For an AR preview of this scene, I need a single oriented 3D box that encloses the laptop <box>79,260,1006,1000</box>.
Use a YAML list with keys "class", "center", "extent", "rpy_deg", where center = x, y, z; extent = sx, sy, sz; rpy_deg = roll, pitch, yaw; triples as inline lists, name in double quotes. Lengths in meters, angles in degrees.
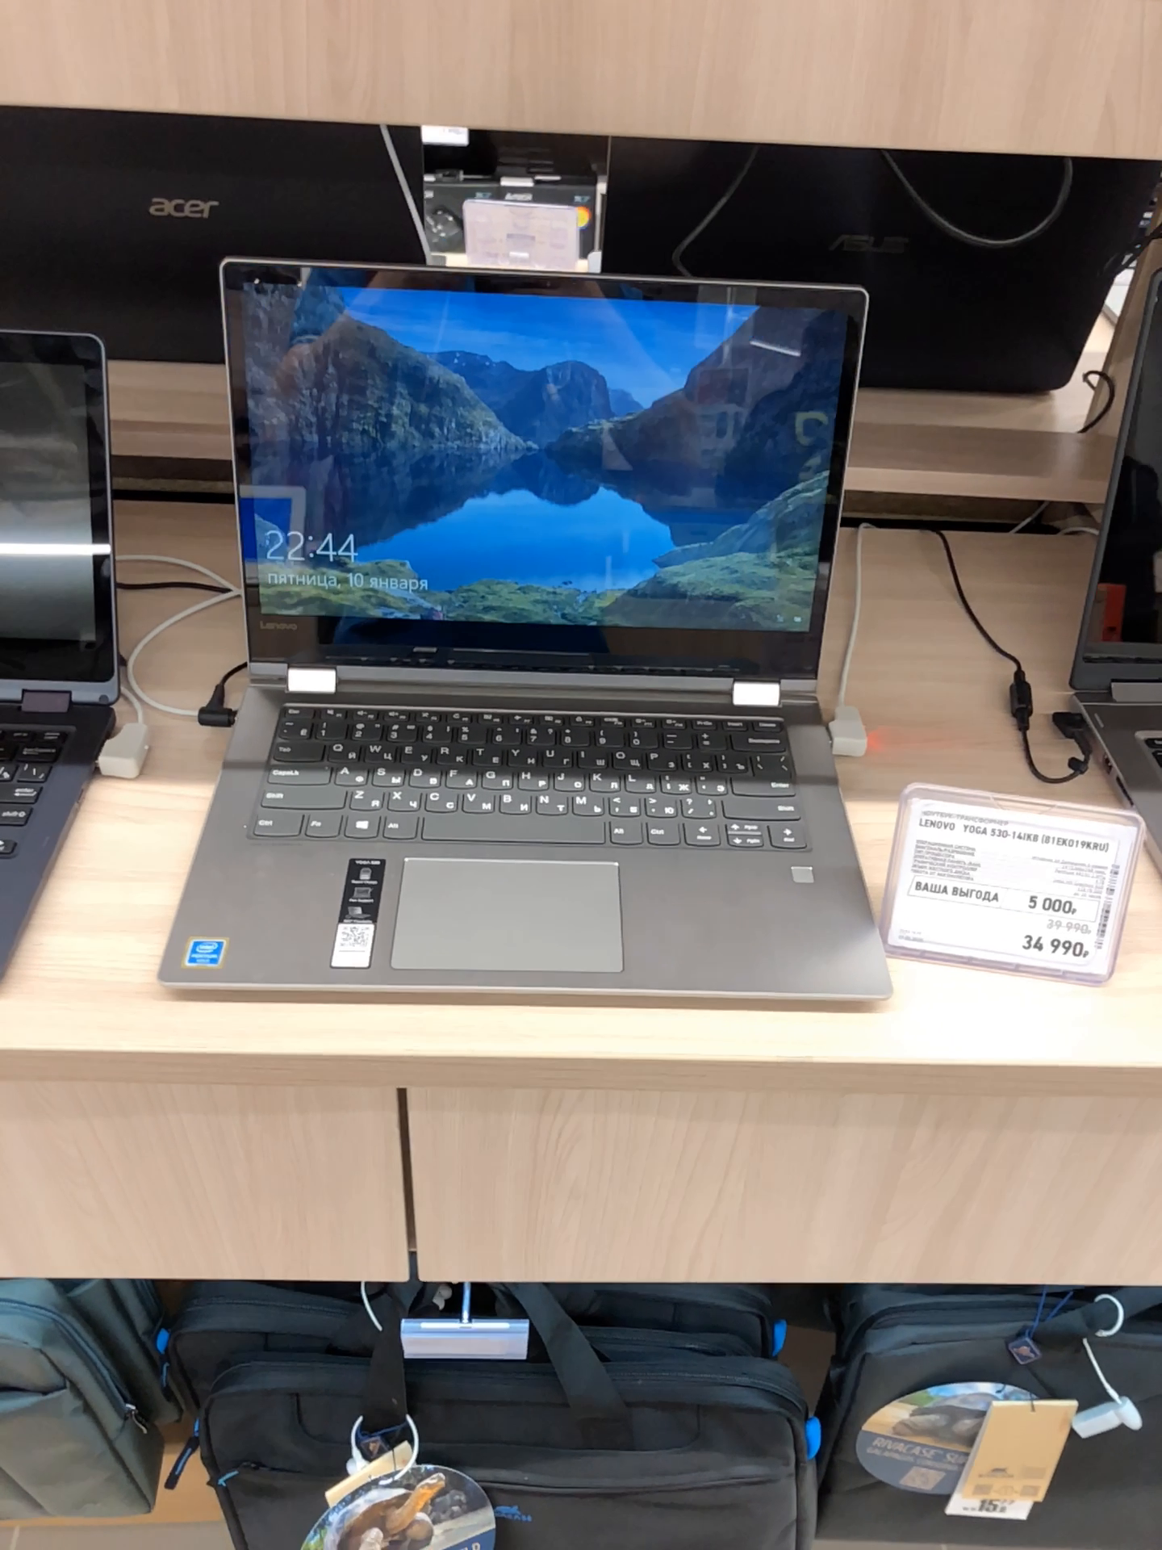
- class: "laptop"
  center: [-0.024, -0.078, 0.602]
  extent: [0.311, 0.205, 0.288]
  rpy_deg: [2, 39, -5]
